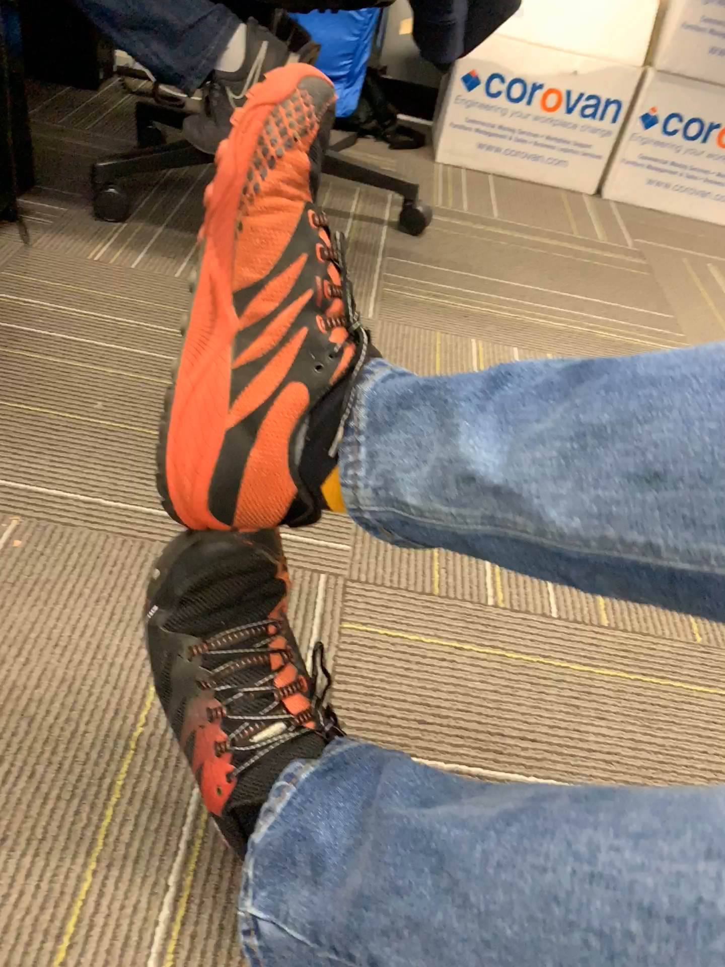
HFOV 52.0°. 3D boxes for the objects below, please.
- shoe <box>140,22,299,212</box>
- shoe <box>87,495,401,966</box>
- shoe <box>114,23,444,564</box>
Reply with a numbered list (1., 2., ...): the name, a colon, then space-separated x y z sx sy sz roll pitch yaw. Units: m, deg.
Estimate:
1. shoe: -0.333 -0.826 1.707 0.164 0.354 0.156 35 51 -25
2. shoe: -0.097 0.172 0.569 0.129 0.135 0.289 -15 89 -30
3. shoe: -0.062 -0.118 0.523 0.142 0.304 0.118 12 7 -10
